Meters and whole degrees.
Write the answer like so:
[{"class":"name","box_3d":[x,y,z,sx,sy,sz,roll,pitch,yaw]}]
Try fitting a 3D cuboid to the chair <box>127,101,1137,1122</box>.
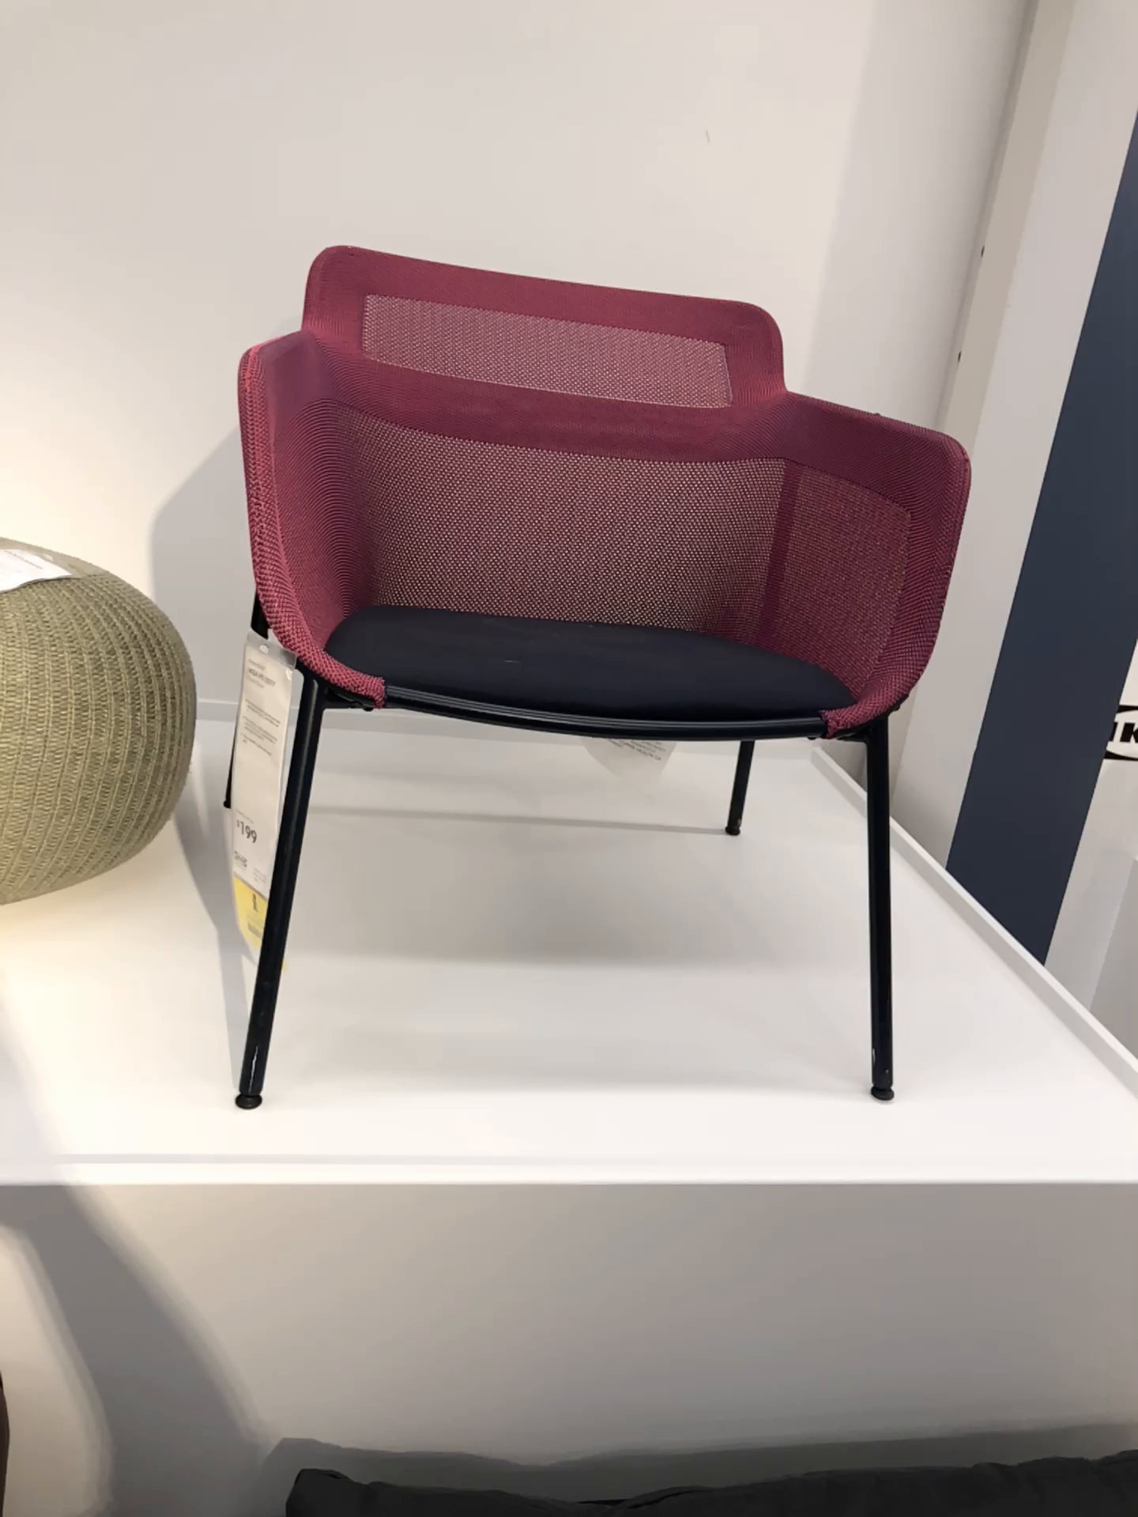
[{"class":"chair","box_3d":[-0.031,-0.213,1.451,0.780,0.747,1.013,3,20,-14]}]
